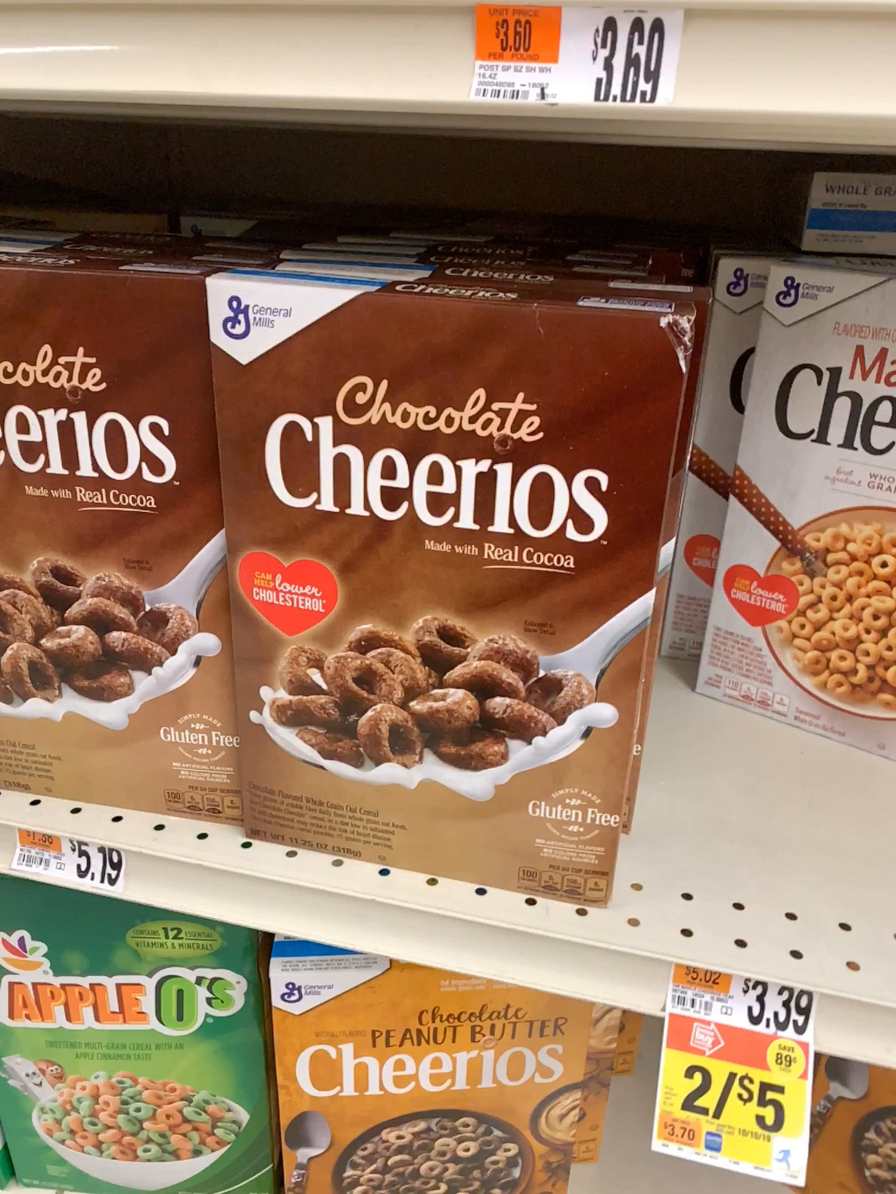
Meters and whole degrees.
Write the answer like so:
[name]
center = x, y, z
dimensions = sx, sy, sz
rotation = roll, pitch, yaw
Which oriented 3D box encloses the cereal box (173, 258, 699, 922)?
[cereal box]
center = -0.009, 0.003, 0.447
dimensions = 0.210, 0.298, 0.060
rotation = 8, 27, 12
